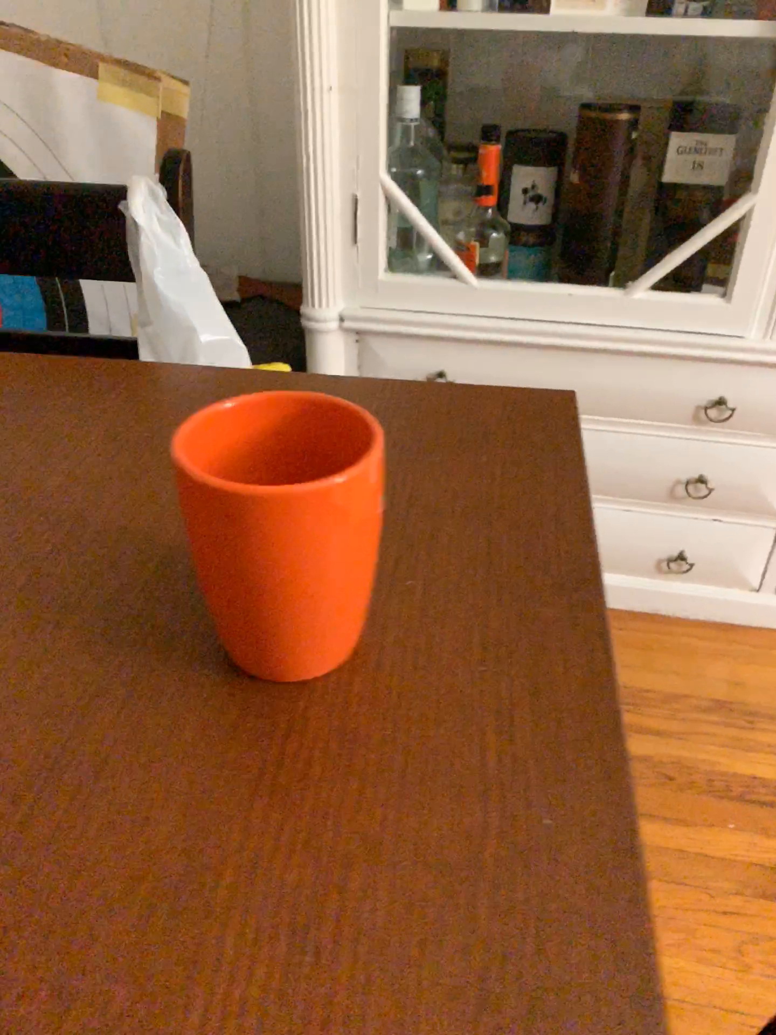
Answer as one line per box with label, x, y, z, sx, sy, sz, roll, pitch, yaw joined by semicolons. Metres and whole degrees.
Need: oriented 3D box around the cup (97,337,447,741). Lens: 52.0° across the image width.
cup;-0.054;0.000;0.363;0.100;0.109;0.131;-18;38;-26
